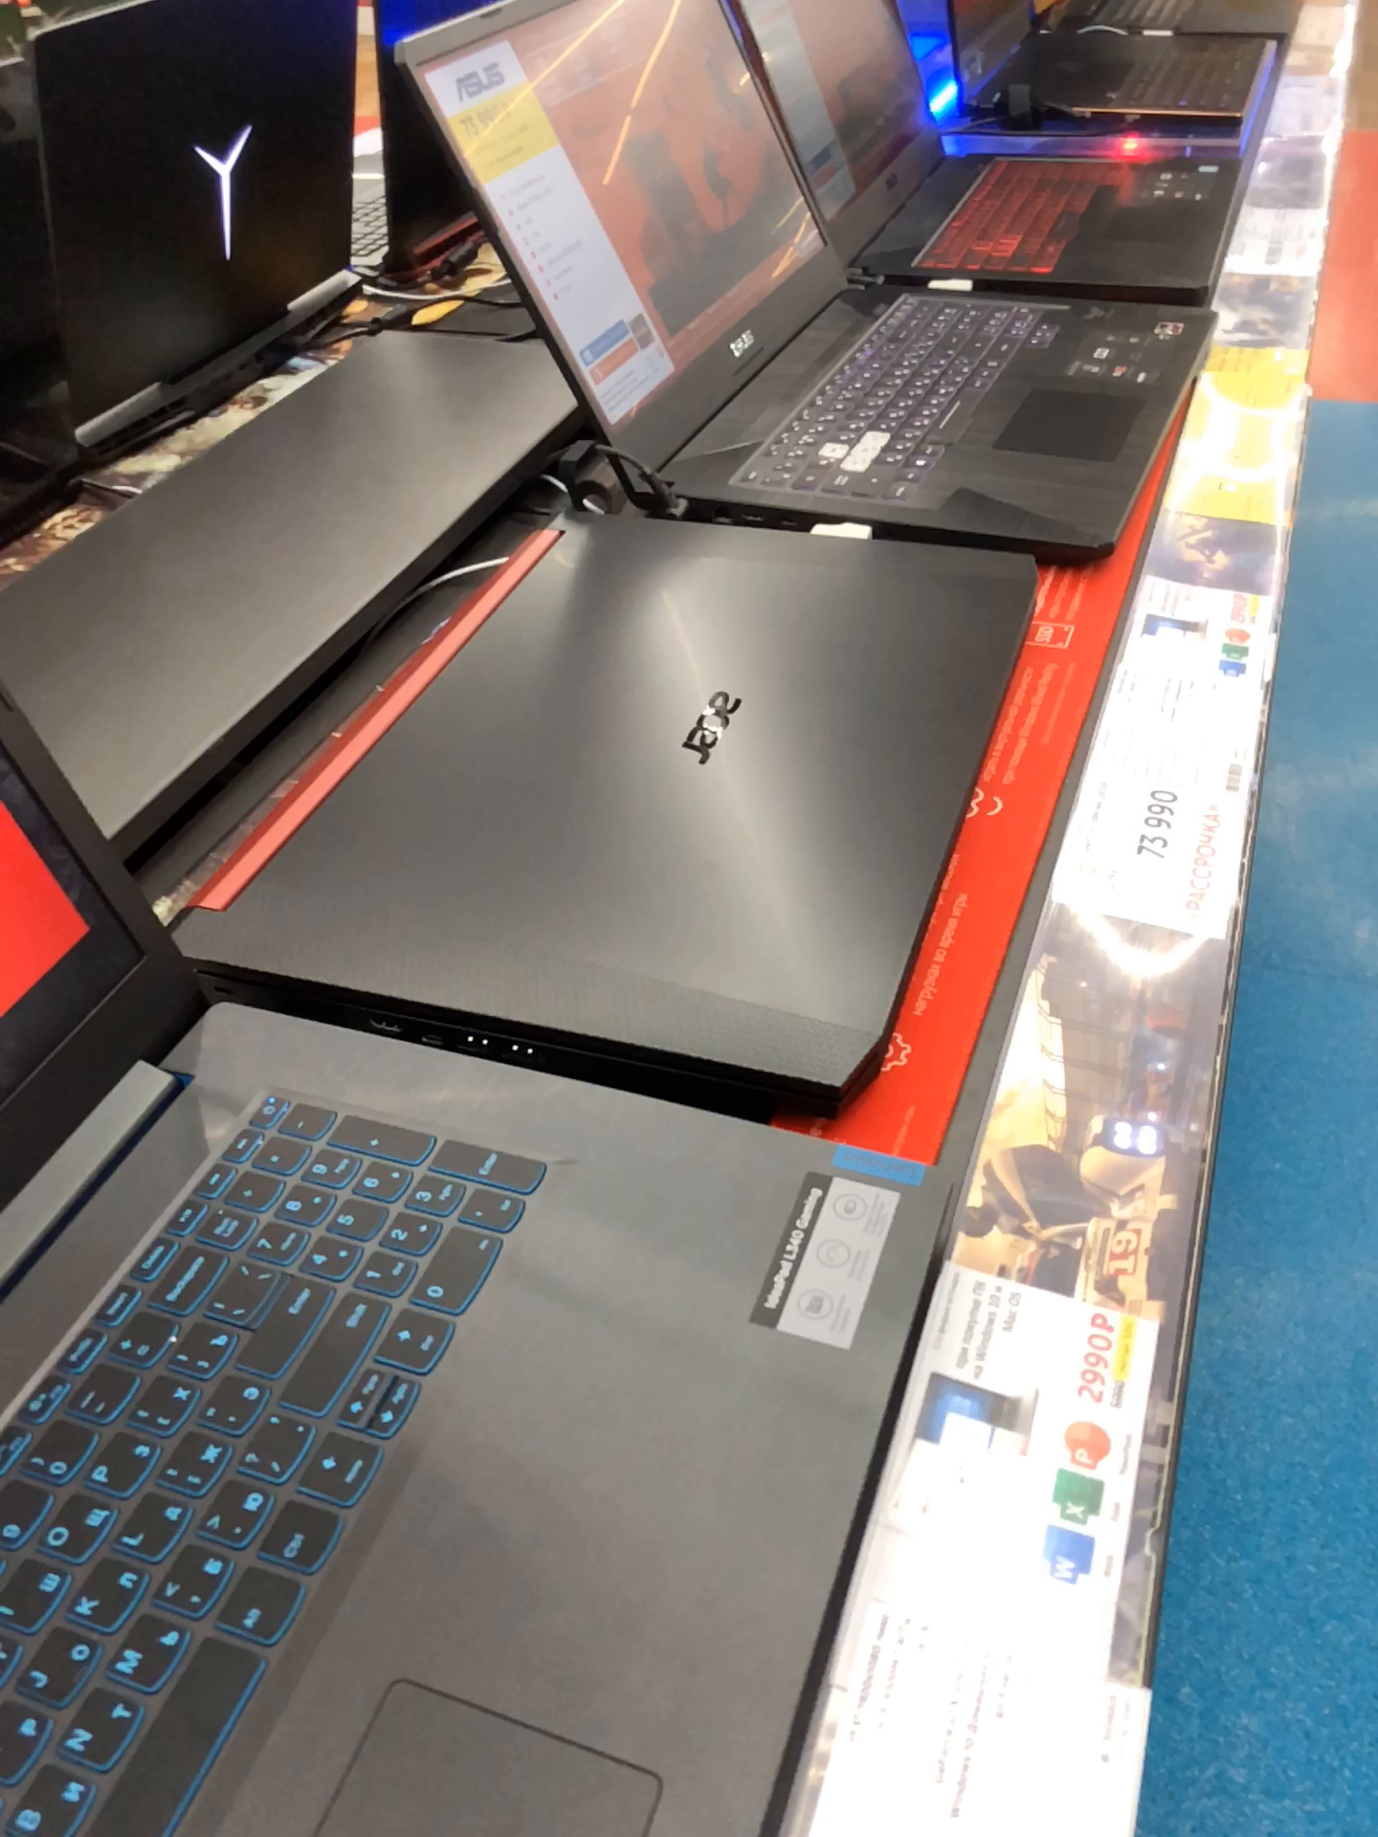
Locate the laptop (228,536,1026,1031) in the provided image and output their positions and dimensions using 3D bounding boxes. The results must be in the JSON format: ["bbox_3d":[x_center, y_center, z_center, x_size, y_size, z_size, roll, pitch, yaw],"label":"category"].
[{"bbox_3d":[0.001,-0.089,0.683,0.255,0.002,0.372,8,39,15],"label":"laptop"}]
